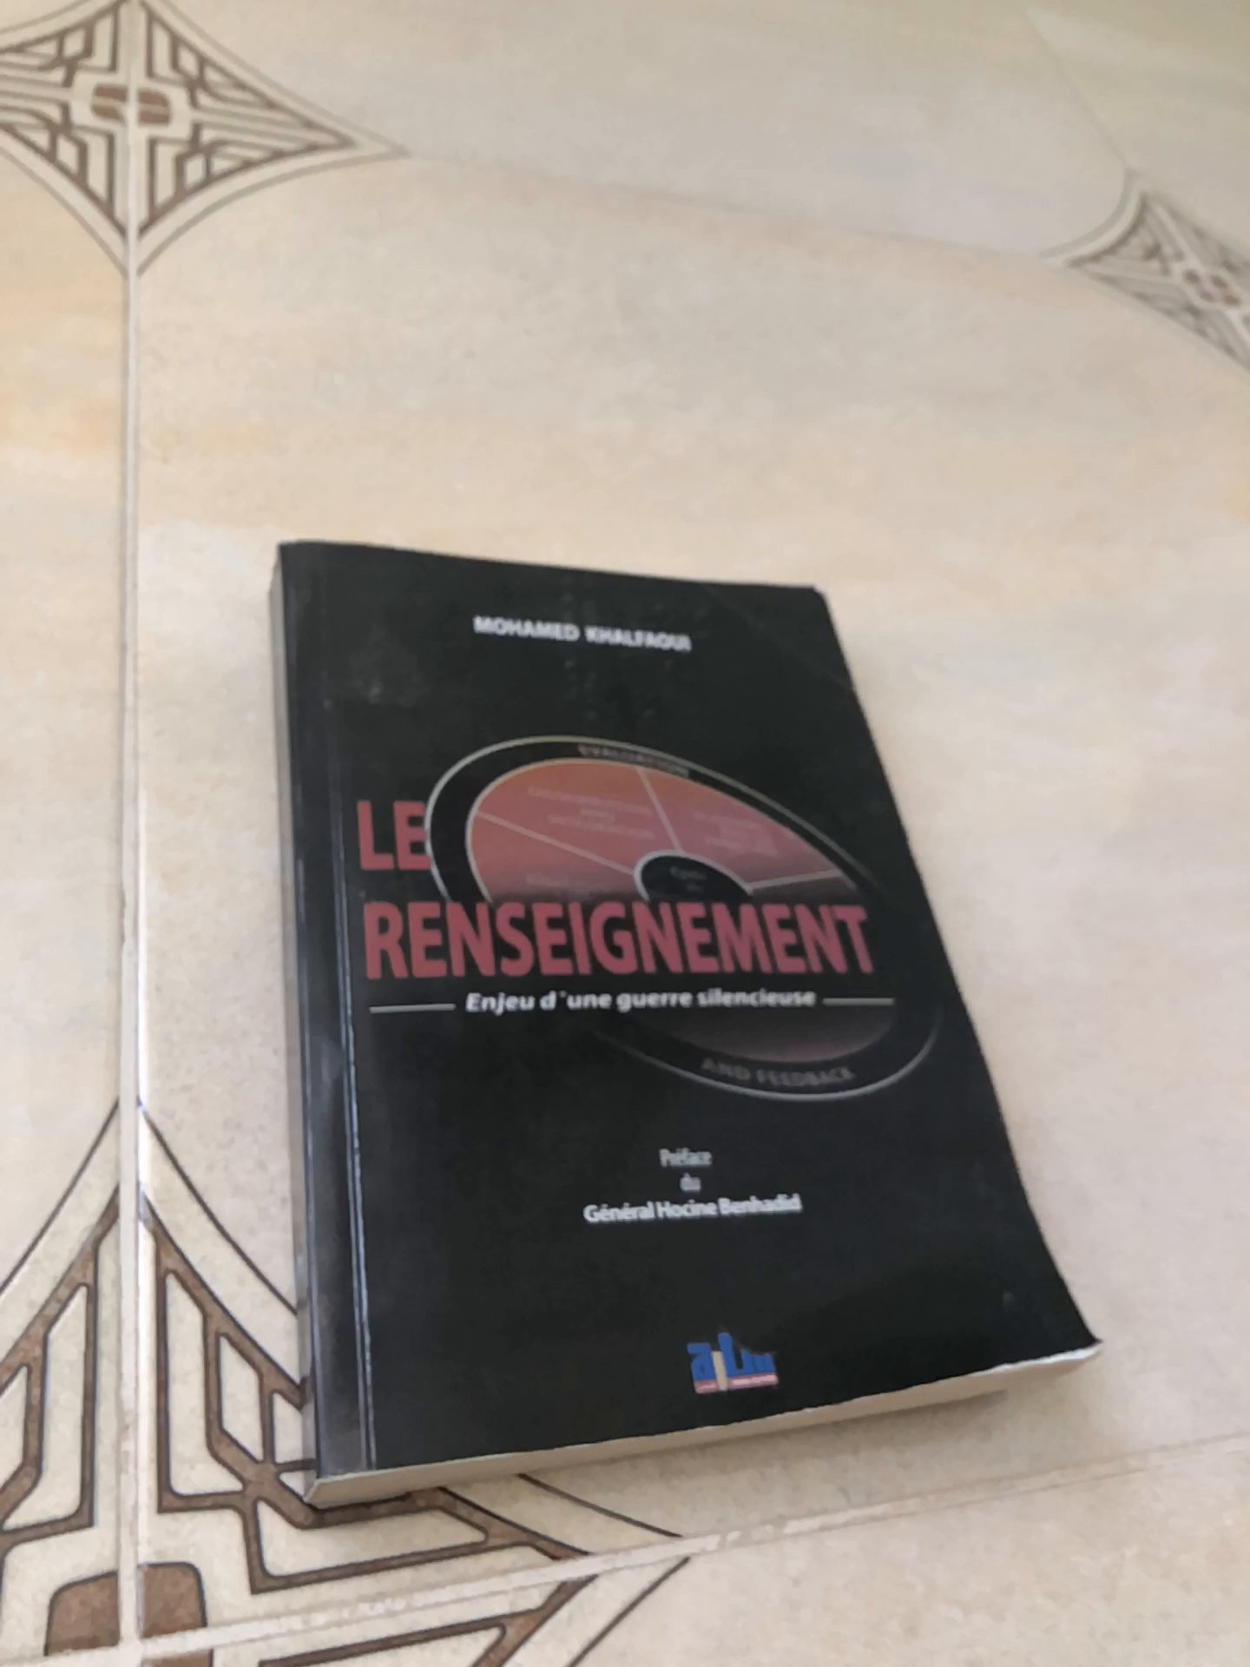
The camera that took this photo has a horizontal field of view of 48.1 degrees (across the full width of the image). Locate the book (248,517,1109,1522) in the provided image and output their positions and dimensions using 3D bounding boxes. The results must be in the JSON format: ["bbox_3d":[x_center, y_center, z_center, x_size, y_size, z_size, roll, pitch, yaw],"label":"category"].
[{"bbox_3d":[-0.001,0.025,0.303,0.146,0.037,0.201,2,56,-21],"label":"book"}]
